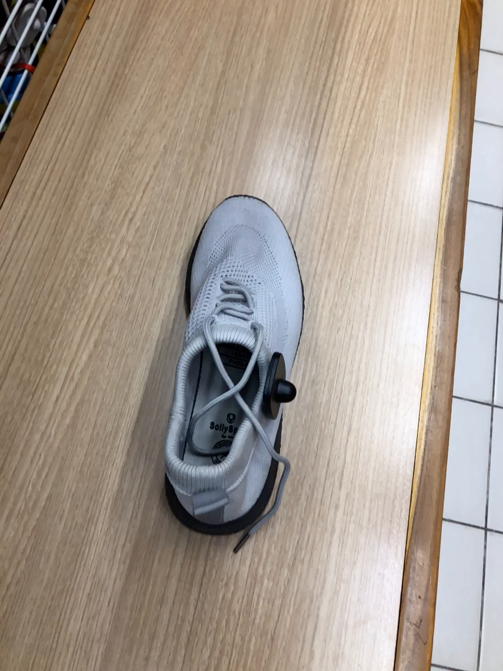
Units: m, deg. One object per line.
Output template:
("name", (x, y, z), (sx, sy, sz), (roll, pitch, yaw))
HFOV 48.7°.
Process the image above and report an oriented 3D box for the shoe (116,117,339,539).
("shoe", (-0.009, -0.002, 0.398), (0.106, 0.122, 0.265), (7, 68, -2))
